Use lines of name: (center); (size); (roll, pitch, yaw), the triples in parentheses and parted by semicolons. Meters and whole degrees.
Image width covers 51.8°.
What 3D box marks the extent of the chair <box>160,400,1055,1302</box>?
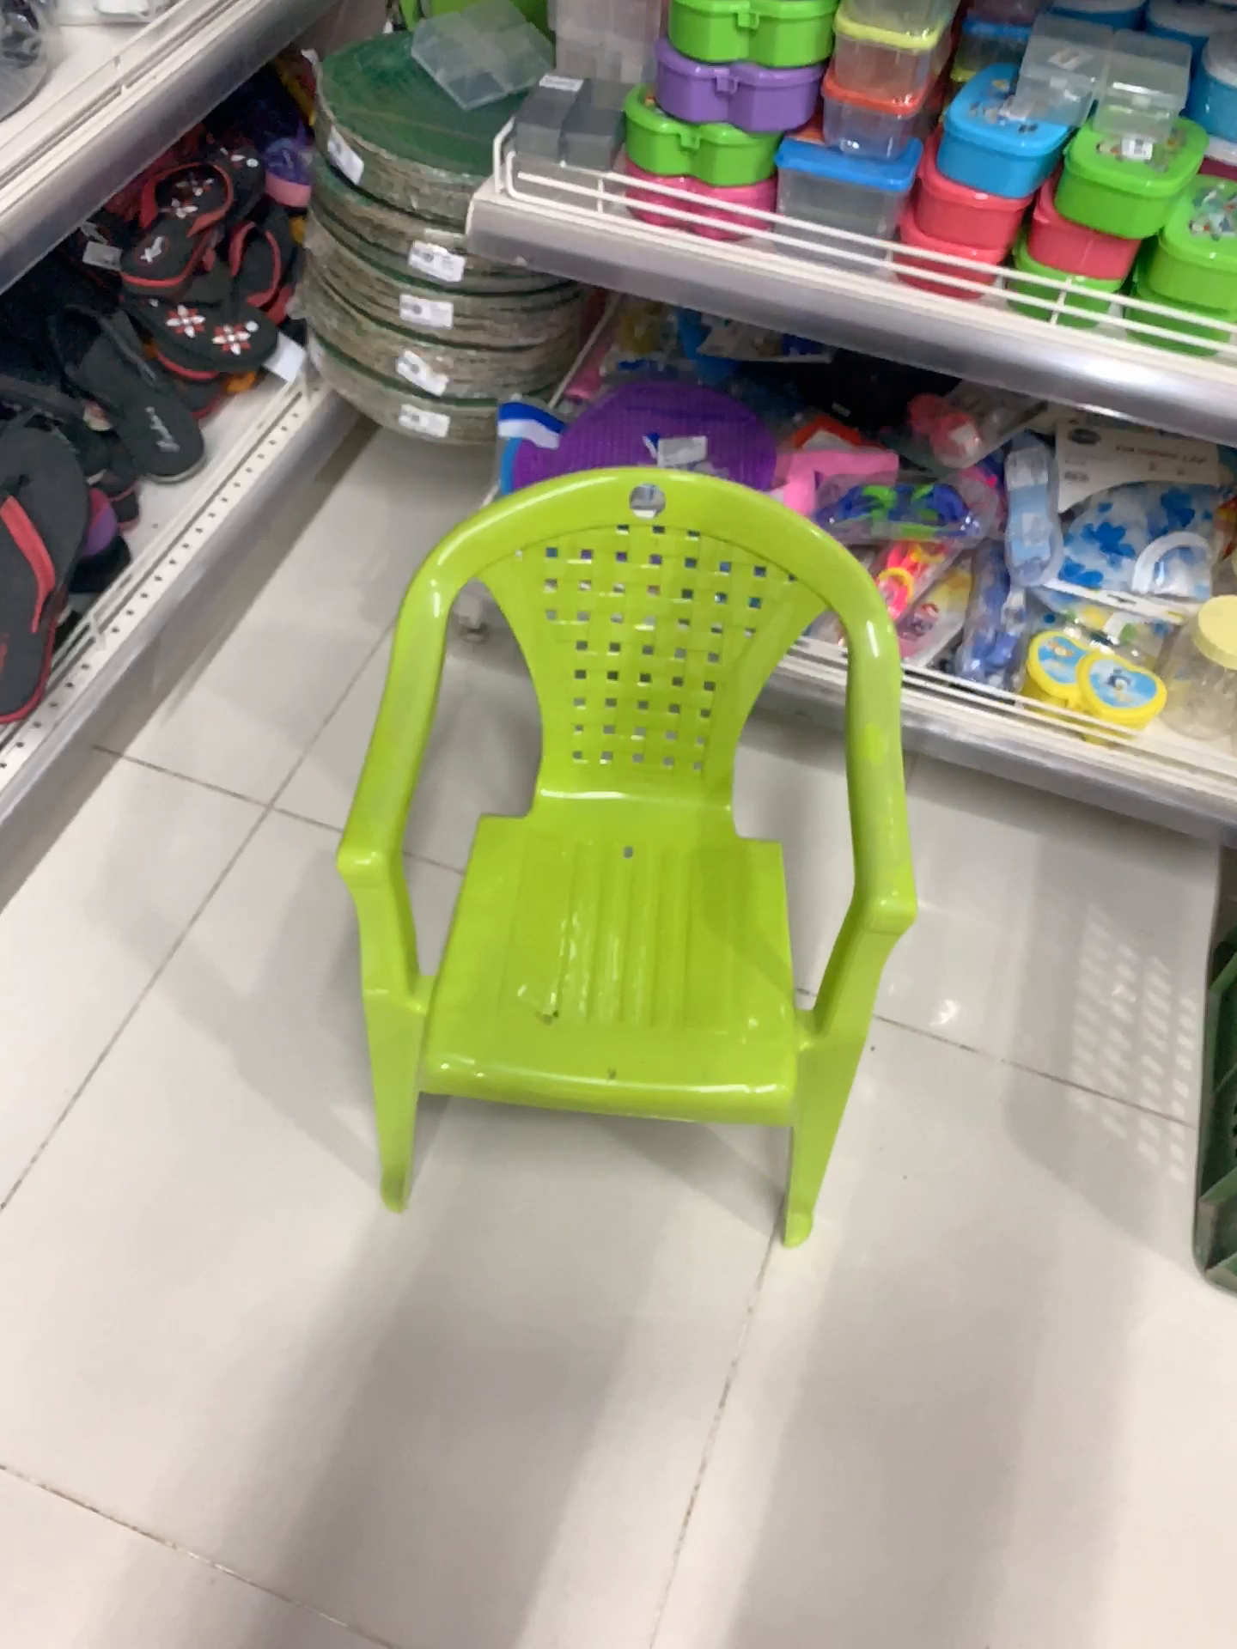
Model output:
chair: (0.004, 0.046, 0.847); (0.390, 0.469, 0.361); (6, 55, 2)
